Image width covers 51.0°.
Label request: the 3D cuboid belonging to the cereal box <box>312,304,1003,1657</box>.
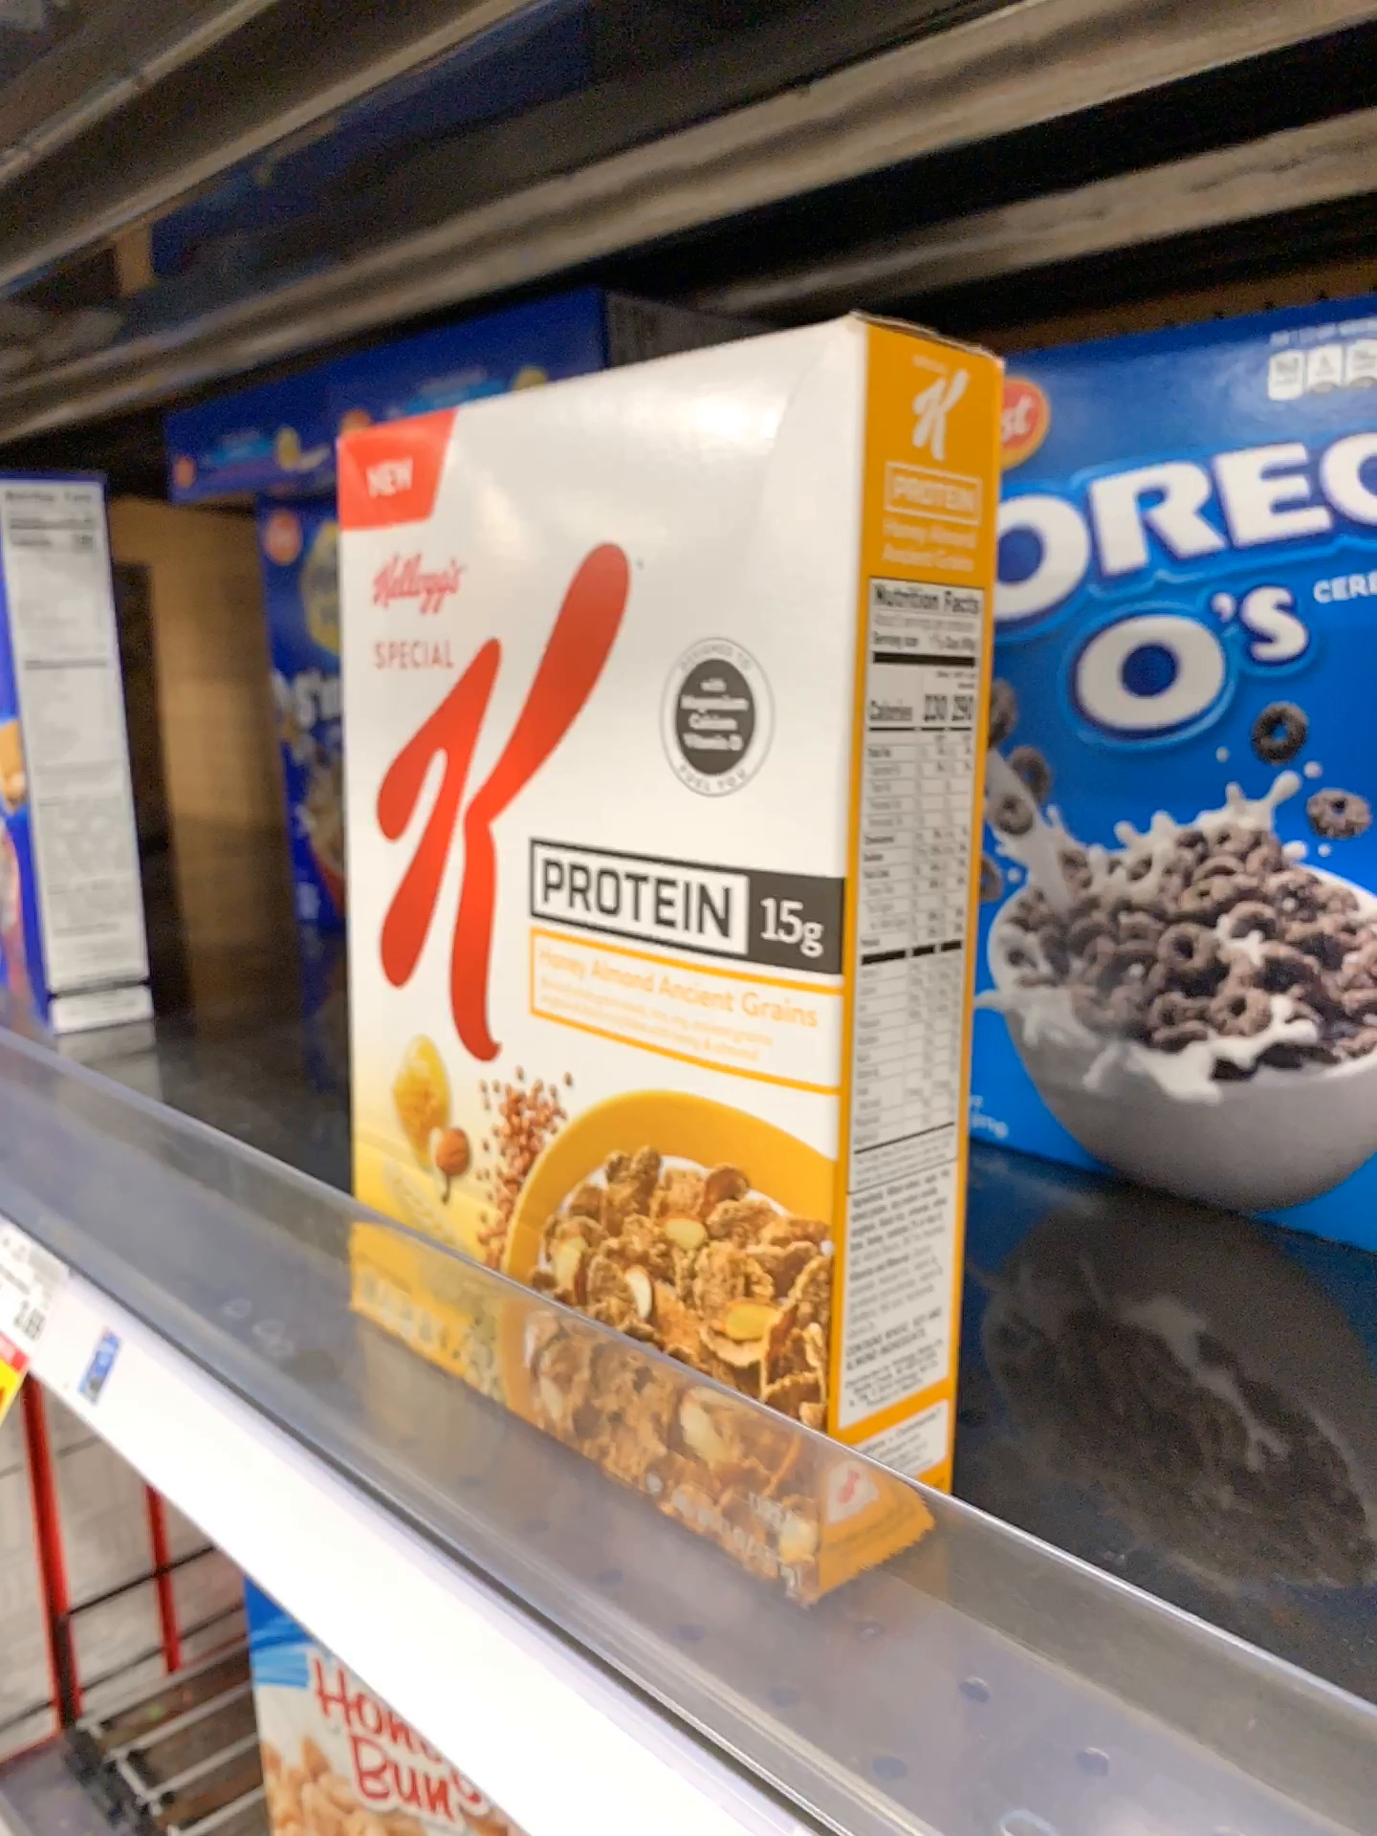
[{"bbox_3d":[-0.024,0.005,0.350,0.040,0.250,0.200,-6,10,-41],"label":"cereal box"}]
